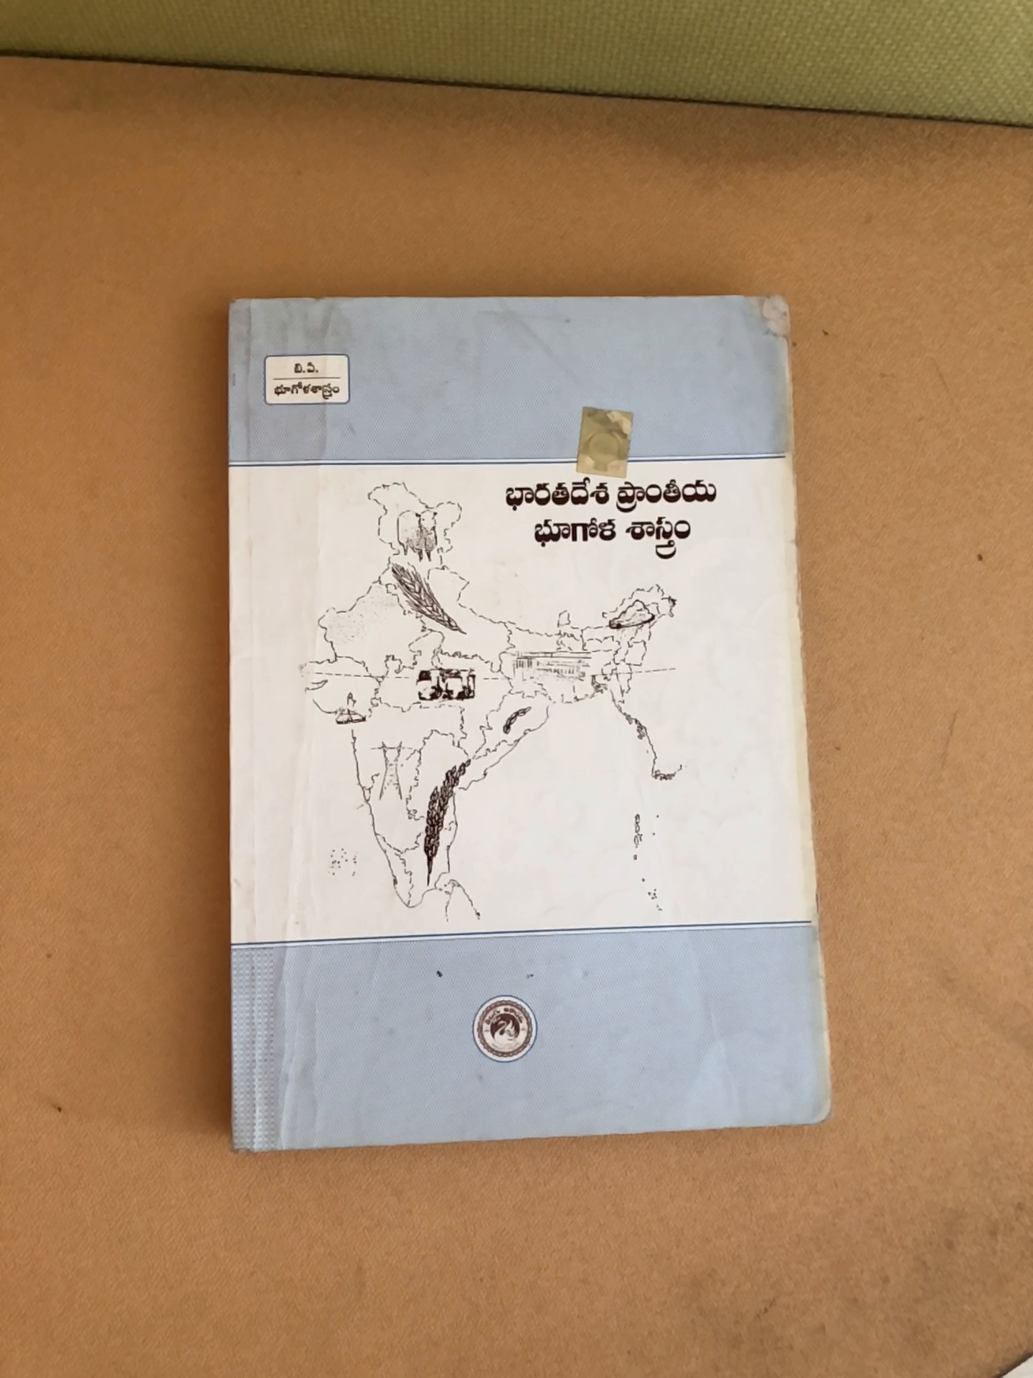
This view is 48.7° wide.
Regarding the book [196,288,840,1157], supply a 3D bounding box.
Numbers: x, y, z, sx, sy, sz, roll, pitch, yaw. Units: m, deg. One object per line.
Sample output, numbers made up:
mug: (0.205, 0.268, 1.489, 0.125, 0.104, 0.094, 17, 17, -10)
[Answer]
book: (-0.002, 0.004, 0.348, 0.180, 0.030, 0.250, -1, 83, -3)
